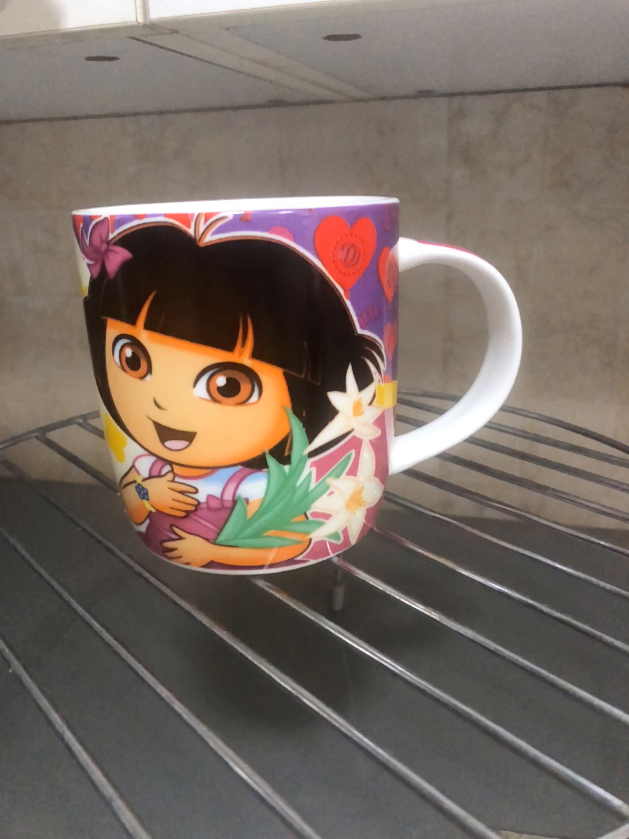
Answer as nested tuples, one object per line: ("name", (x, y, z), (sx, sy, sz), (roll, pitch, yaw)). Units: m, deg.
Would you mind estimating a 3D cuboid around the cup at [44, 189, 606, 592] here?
("cup", (0.001, -0.015, 0.196), (0.120, 0.090, 0.070), (-3, 18, -6))
